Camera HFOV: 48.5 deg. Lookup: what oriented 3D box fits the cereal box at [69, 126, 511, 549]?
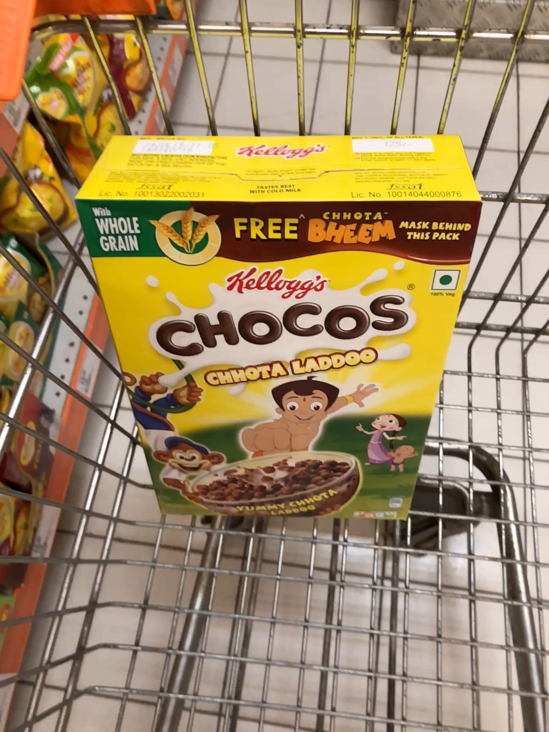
[{"bbox_3d":[0.011,0.000,0.360,0.180,0.249,0.080,0,41,4],"label":"cereal box"}]
